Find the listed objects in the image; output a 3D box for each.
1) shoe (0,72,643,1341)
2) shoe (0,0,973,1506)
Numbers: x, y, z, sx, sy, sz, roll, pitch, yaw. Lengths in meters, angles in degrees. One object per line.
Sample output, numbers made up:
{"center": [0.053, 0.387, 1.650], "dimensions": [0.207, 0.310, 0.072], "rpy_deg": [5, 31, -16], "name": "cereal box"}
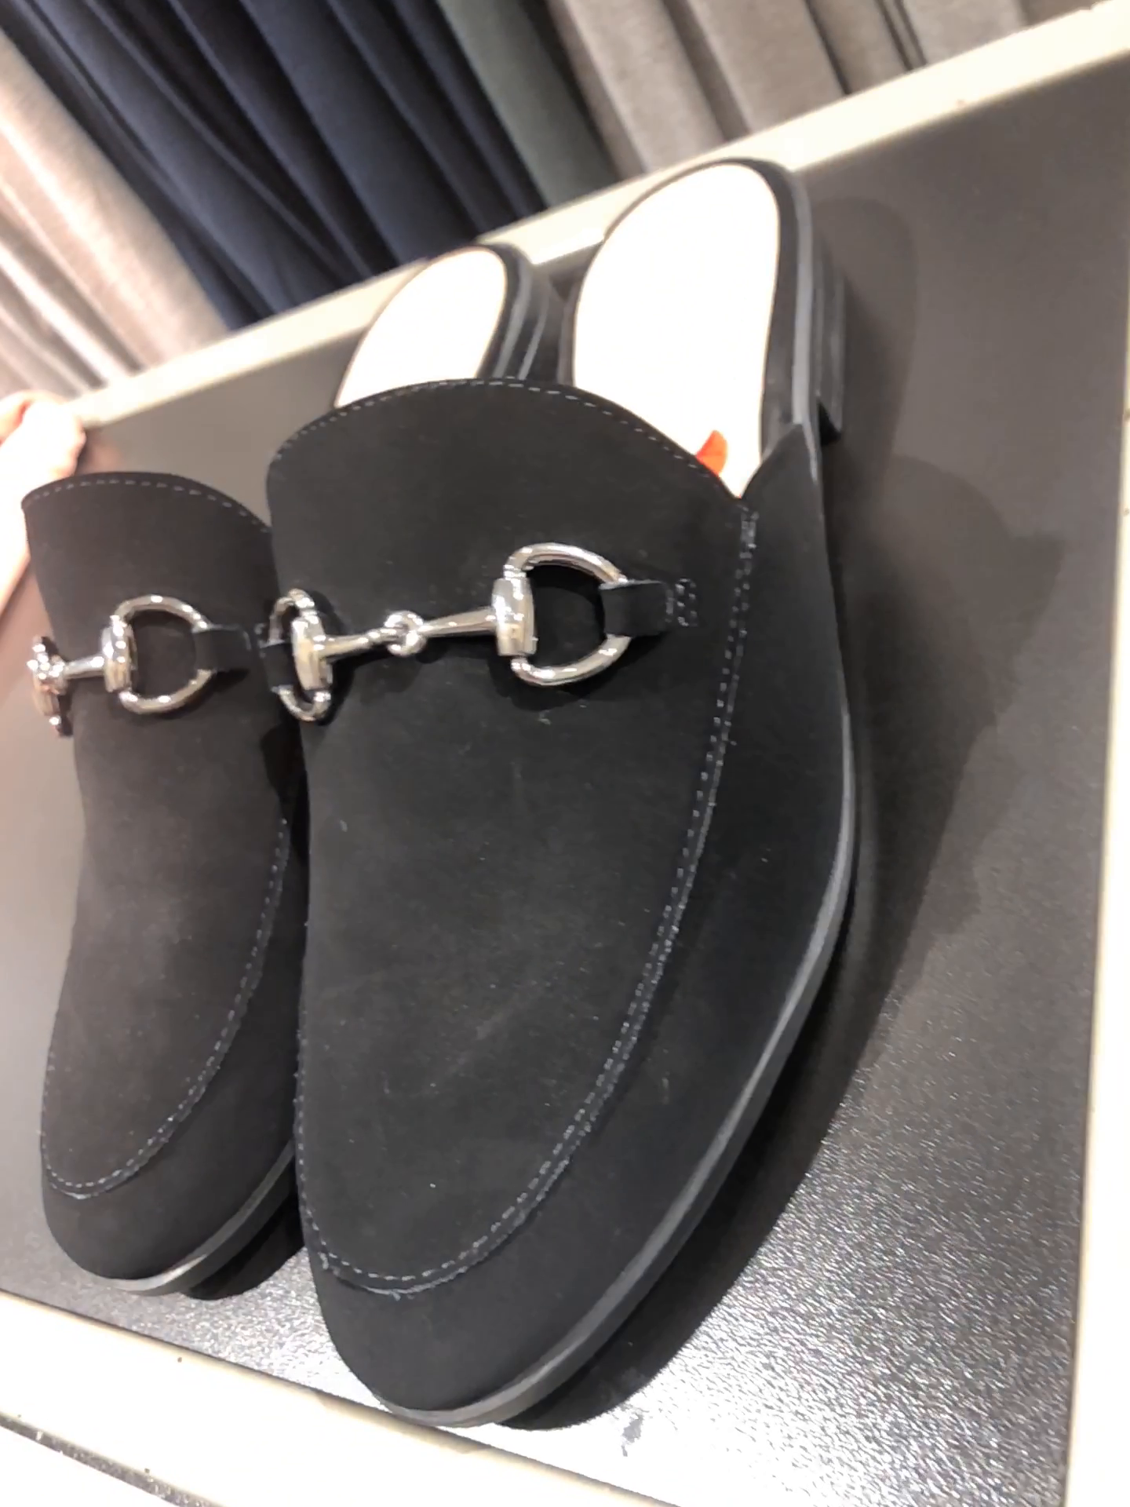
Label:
{"center": [-0.060, -0.011, 0.259], "dimensions": [0.090, 0.080, 0.220], "rpy_deg": [-5, 64, 36], "name": "shoe"}
{"center": [0.004, -0.017, 0.205], "dimensions": [0.090, 0.070, 0.221], "rpy_deg": [-8, 56, 34], "name": "shoe"}
